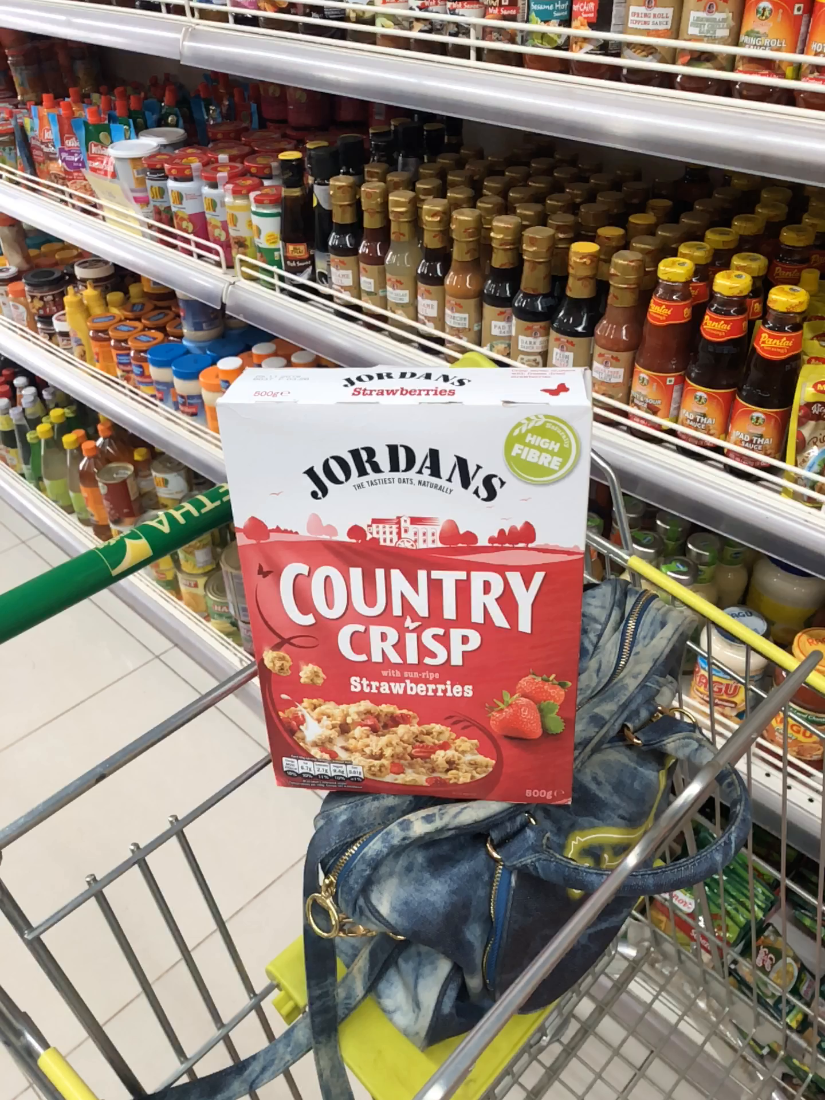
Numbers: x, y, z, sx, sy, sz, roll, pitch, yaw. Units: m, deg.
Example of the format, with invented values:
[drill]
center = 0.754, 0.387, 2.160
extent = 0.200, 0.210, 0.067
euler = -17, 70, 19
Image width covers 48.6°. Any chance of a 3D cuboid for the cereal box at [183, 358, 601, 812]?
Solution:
[cereal box]
center = -0.005, 0.026, 0.502
extent = 0.190, 0.249, 0.060
euler = 2, 31, 7
